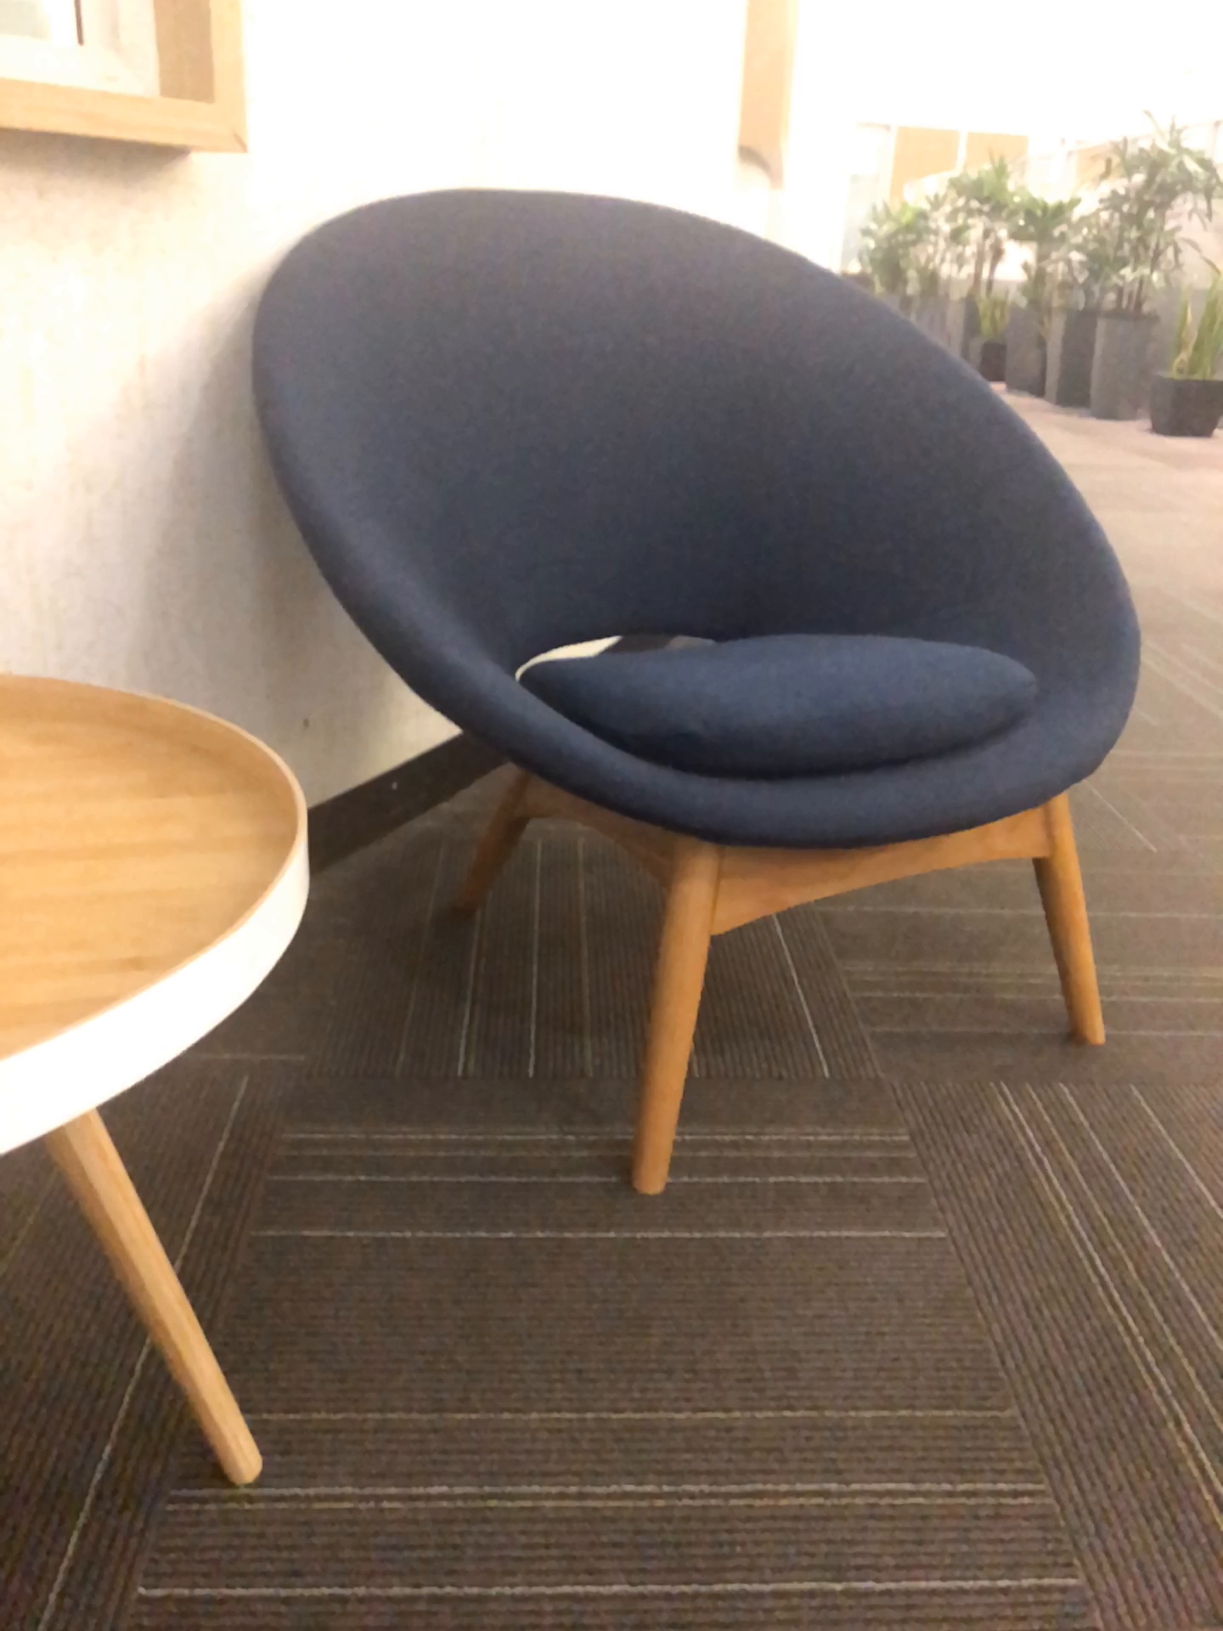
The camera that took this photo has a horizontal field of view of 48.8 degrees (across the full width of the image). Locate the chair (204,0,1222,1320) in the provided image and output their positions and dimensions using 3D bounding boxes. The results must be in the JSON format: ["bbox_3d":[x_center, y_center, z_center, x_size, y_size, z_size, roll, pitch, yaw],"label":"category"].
[{"bbox_3d":[0.102,-0.261,1.553,0.893,0.995,1.002,-7,17,-23],"label":"chair"}]
